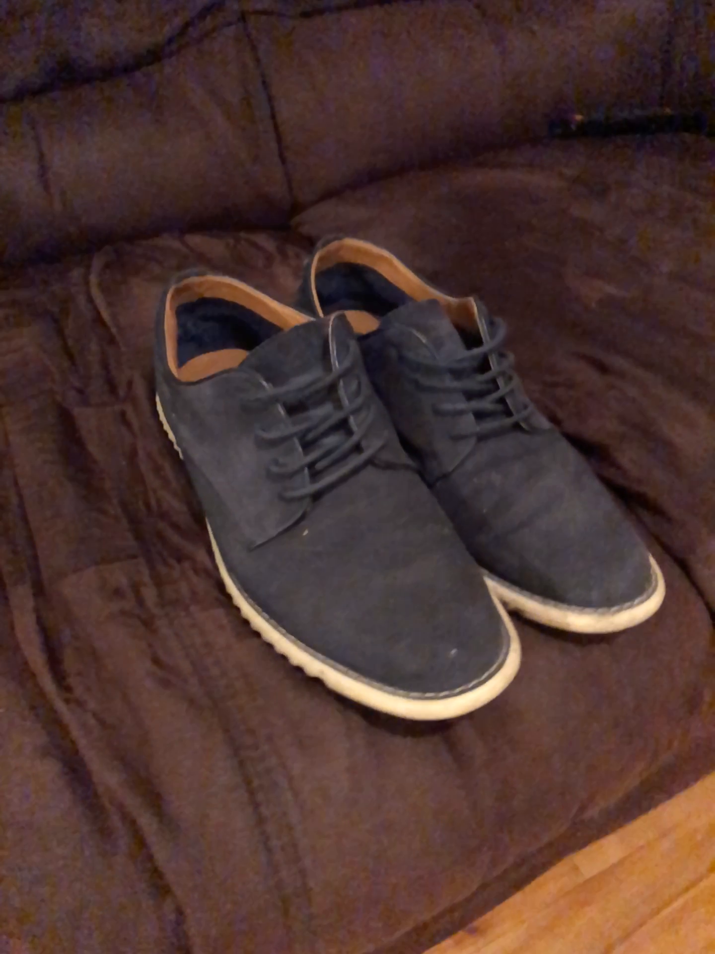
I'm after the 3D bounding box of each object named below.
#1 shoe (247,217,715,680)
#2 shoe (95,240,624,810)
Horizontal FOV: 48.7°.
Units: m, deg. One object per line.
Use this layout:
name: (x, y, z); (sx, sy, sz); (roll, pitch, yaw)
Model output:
shoe: (0.063, -0.042, 0.445); (0.120, 0.079, 0.292); (-24, 47, -24)
shoe: (-0.023, -0.005, 0.408); (0.120, 0.099, 0.292); (-21, 46, -22)
